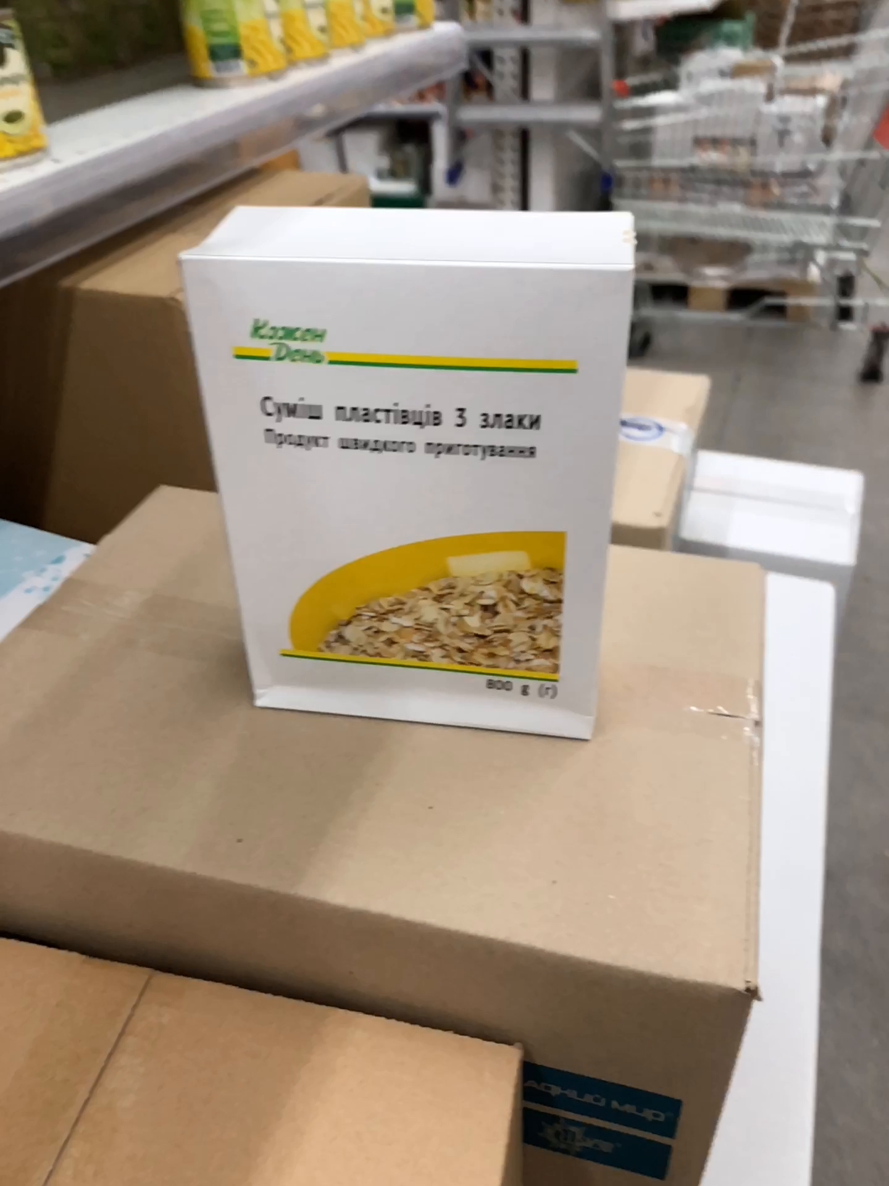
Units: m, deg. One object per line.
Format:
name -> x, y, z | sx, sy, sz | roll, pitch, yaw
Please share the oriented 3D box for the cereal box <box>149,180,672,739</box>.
cereal box -> -0.008, -0.049, 0.403 | 0.170, 0.208, 0.071 | 4, 36, 7
